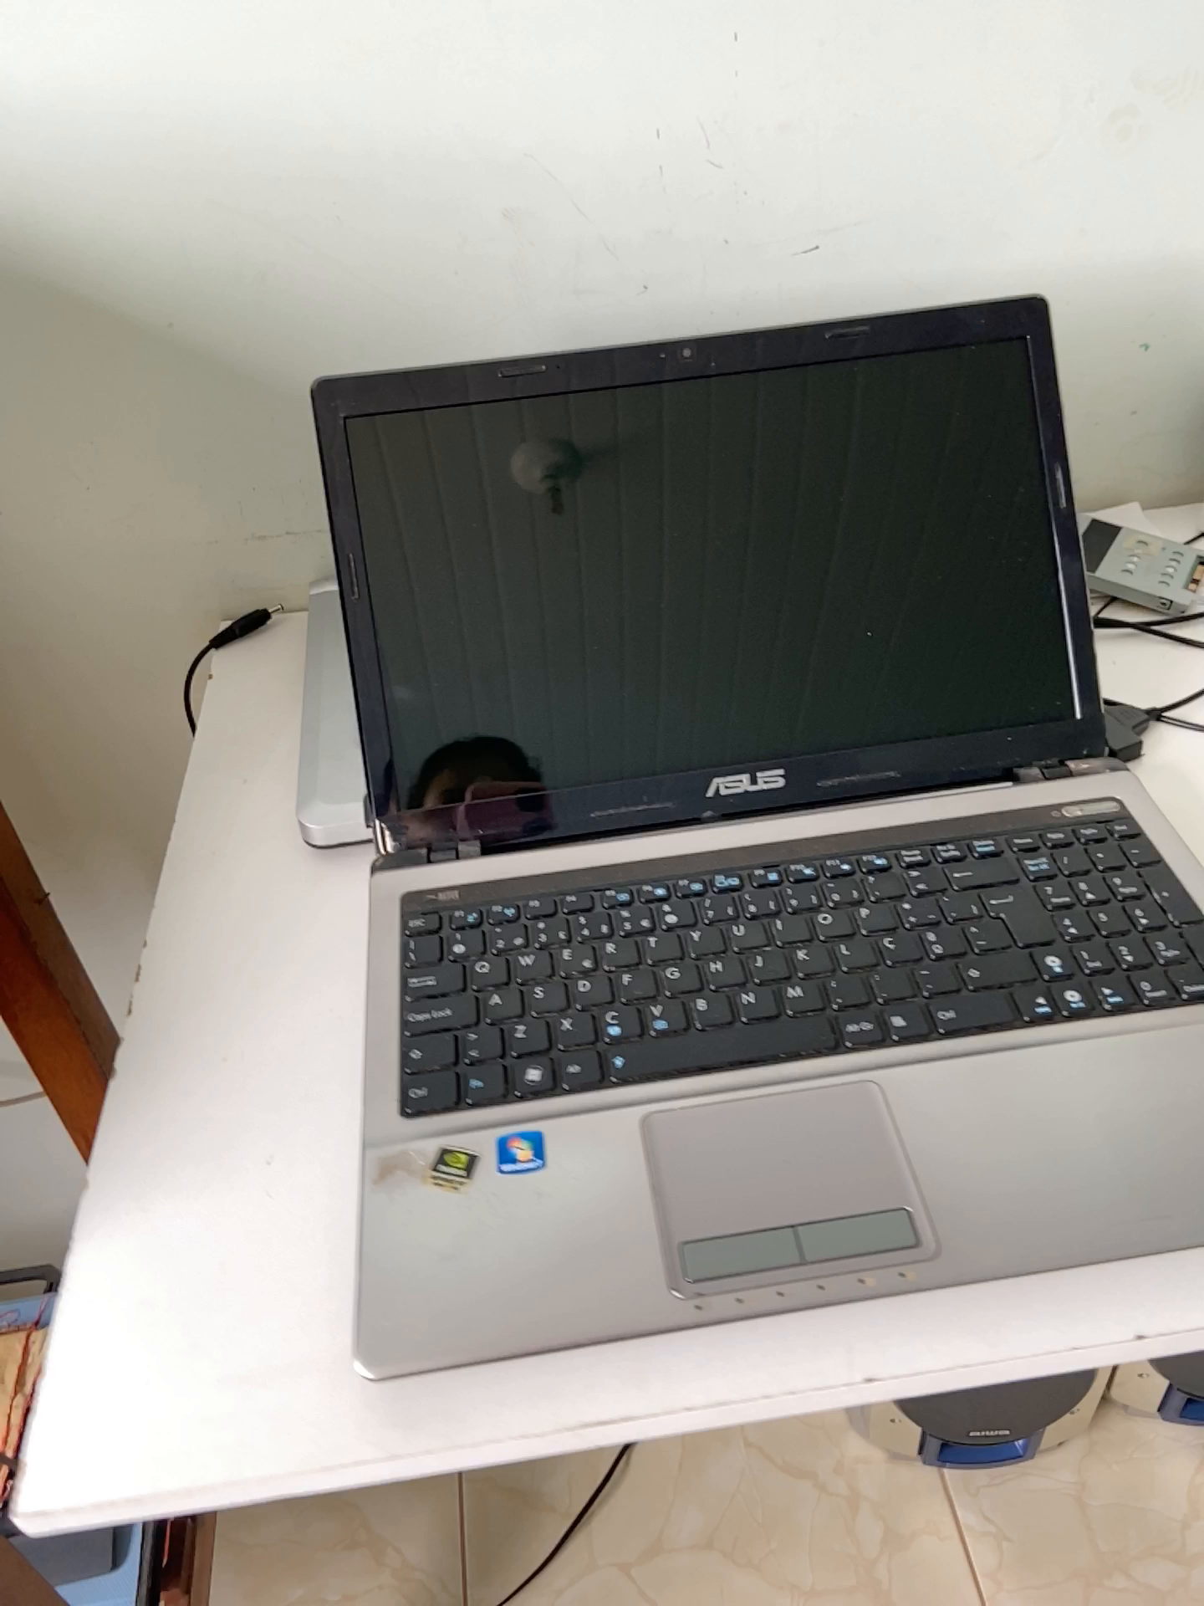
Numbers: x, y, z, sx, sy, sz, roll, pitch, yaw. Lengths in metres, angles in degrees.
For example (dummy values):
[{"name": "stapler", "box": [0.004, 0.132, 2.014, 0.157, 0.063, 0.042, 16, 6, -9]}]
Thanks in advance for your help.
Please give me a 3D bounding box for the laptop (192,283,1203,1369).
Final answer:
[{"name": "laptop", "box": [0.068, -0.039, 0.522, 0.376, 0.179, 0.417, -8, 40, -3]}]
